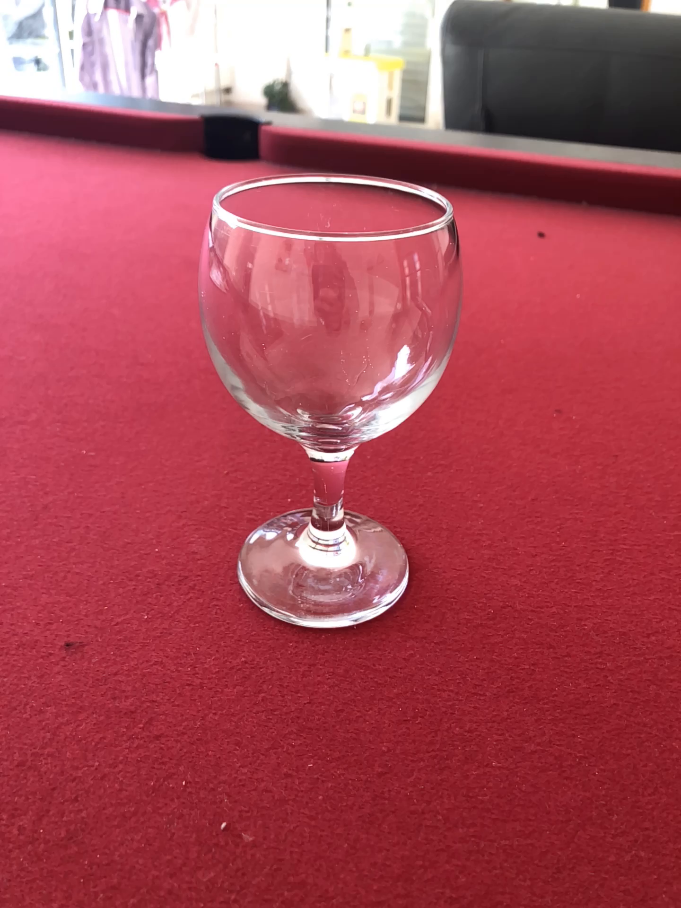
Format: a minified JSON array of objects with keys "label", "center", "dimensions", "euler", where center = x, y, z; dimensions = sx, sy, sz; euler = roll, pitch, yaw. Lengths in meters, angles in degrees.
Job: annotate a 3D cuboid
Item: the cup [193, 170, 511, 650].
[{"label":"cup","center":[-0.003,-0.016,0.245],"dimensions":[0.070,0.129,0.070],"euler":[2,31,-1]}]
